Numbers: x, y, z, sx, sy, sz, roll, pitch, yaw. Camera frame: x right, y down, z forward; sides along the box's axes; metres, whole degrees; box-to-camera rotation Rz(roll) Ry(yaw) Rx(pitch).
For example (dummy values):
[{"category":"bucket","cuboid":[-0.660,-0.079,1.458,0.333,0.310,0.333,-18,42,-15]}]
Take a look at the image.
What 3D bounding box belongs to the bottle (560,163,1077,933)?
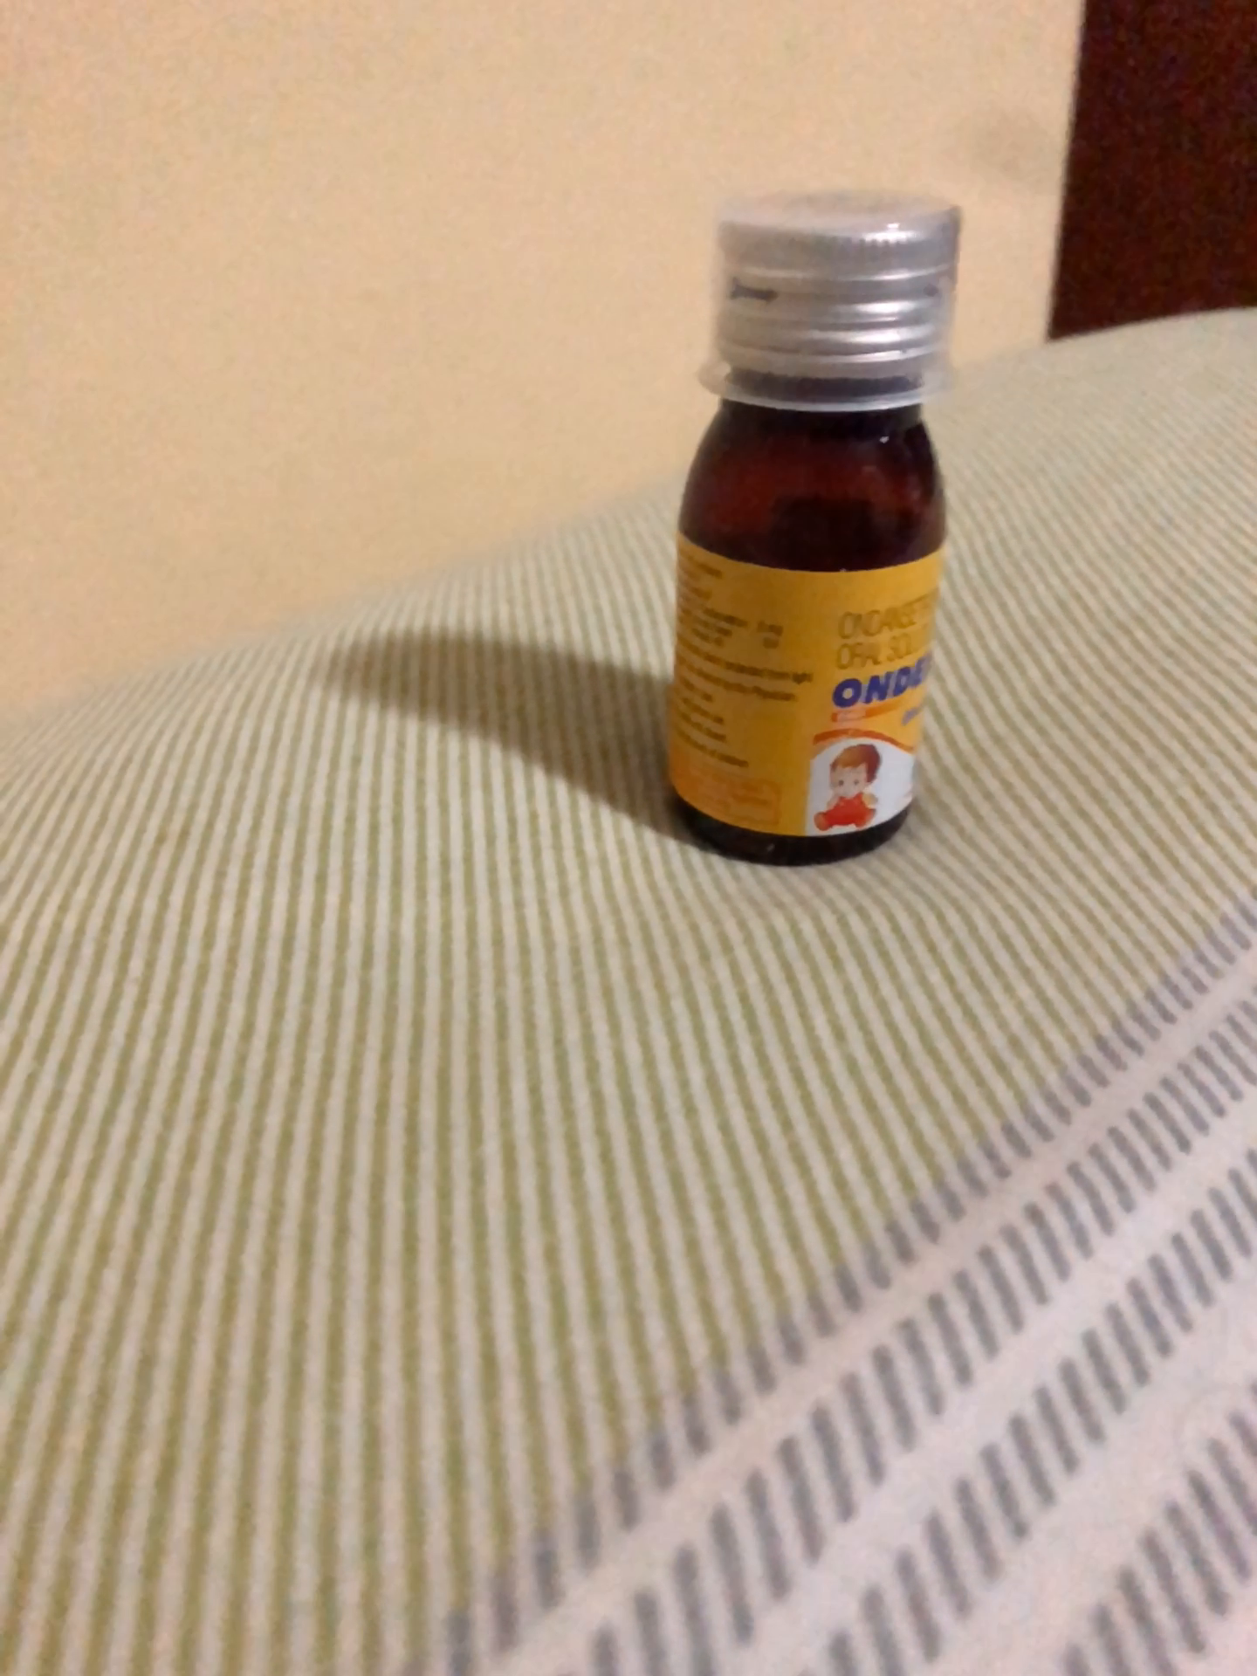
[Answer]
[{"category":"bottle","cuboid":[0.020,-0.037,0.176,0.040,0.080,0.040,0,31,0]}]
